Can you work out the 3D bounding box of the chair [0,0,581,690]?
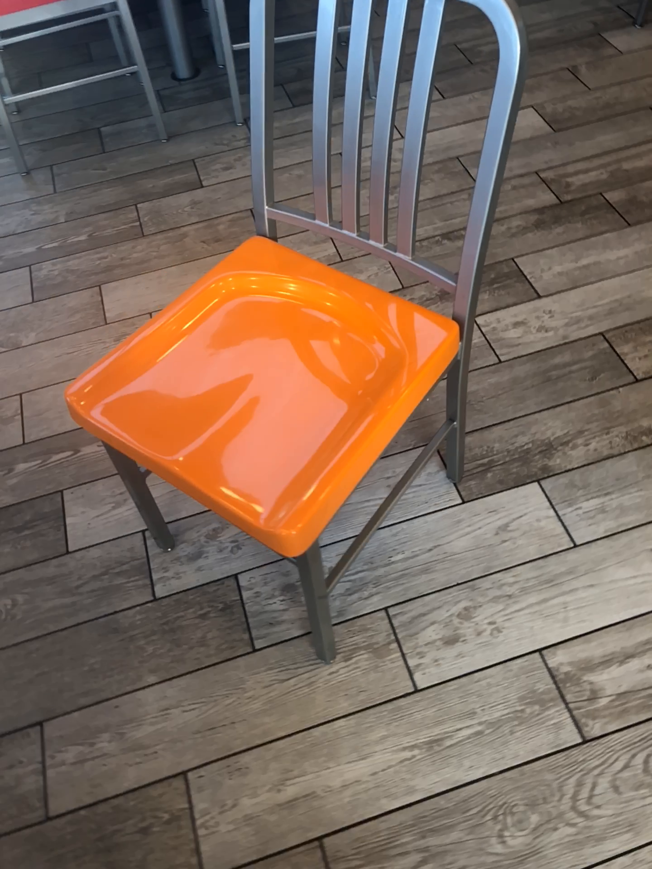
[{"bbox_3d":[-0.076,-0.128,0.964,0.471,0.818,0.510,29,62,24],"label":"chair"}]
